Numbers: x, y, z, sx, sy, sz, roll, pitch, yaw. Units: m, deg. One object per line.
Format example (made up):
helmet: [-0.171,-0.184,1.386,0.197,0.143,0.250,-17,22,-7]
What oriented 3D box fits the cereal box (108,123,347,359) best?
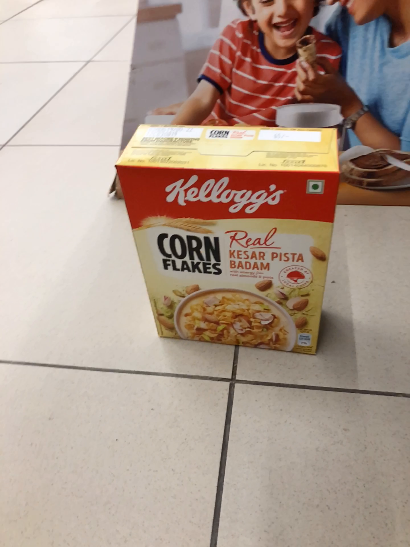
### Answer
cereal box: [0.020,-0.018,0.341,0.140,0.169,0.060,4,42,9]
